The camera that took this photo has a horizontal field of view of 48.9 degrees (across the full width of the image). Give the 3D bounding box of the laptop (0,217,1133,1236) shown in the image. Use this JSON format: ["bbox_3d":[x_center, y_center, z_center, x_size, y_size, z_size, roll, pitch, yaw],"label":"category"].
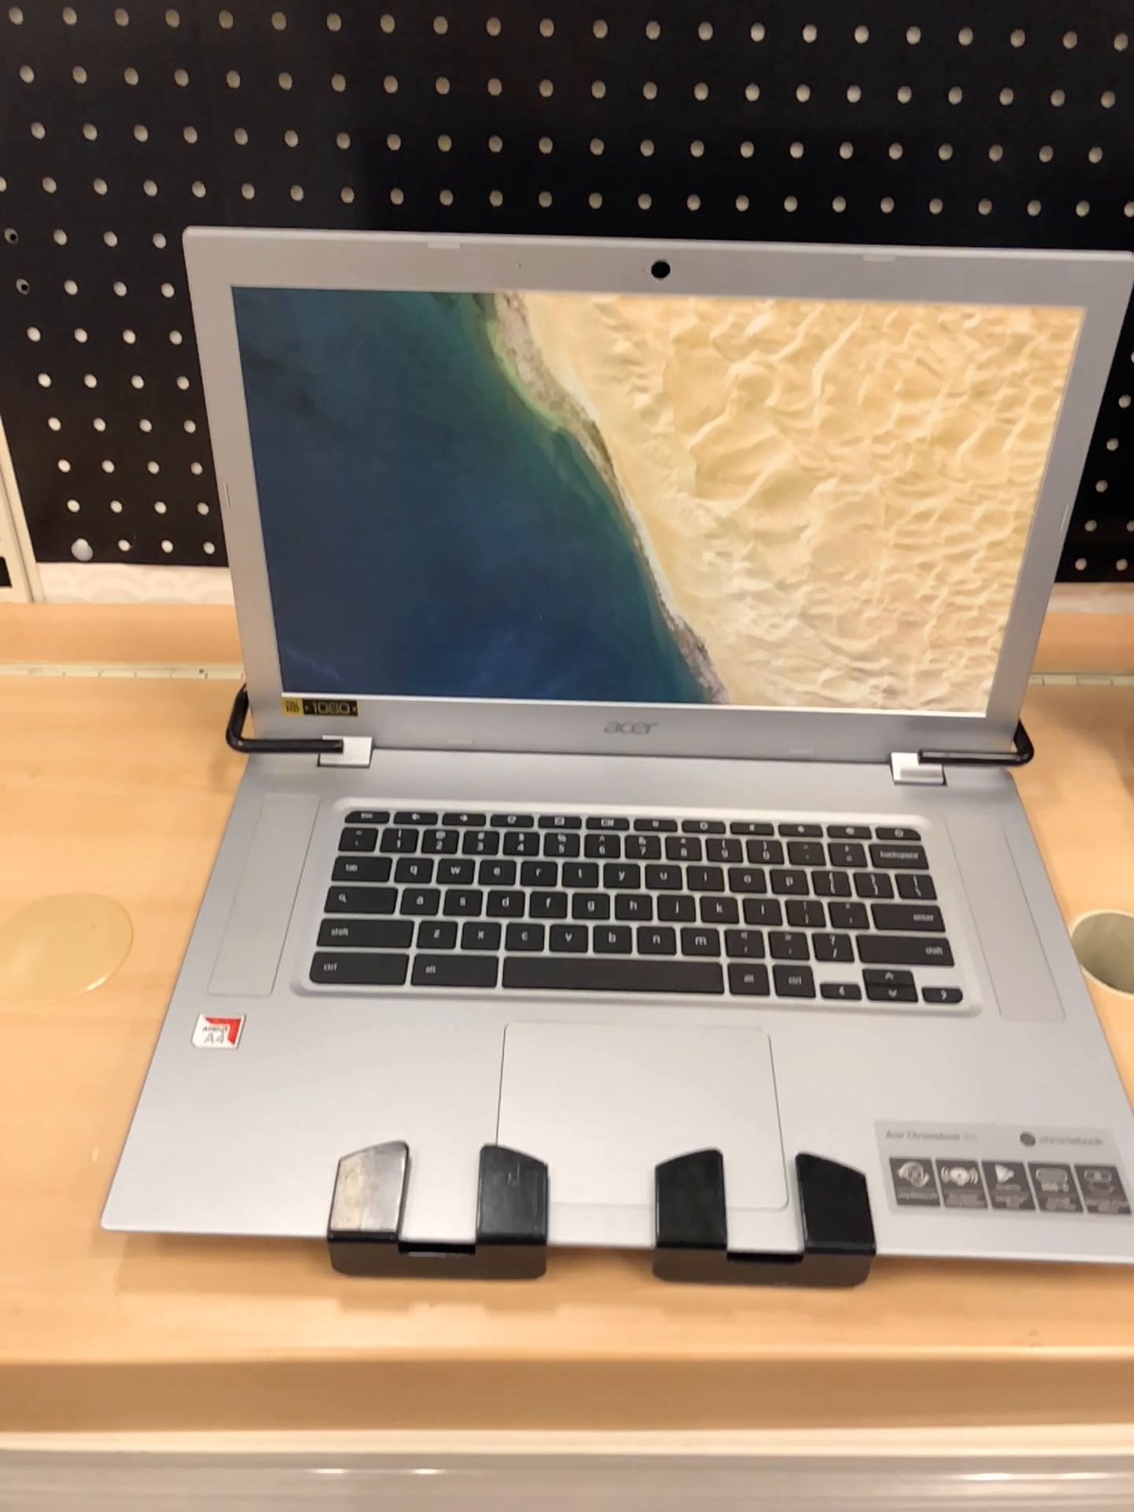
[{"bbox_3d":[0.031,-0.029,0.481,0.371,0.246,0.287,1,37,0],"label":"laptop"}]
